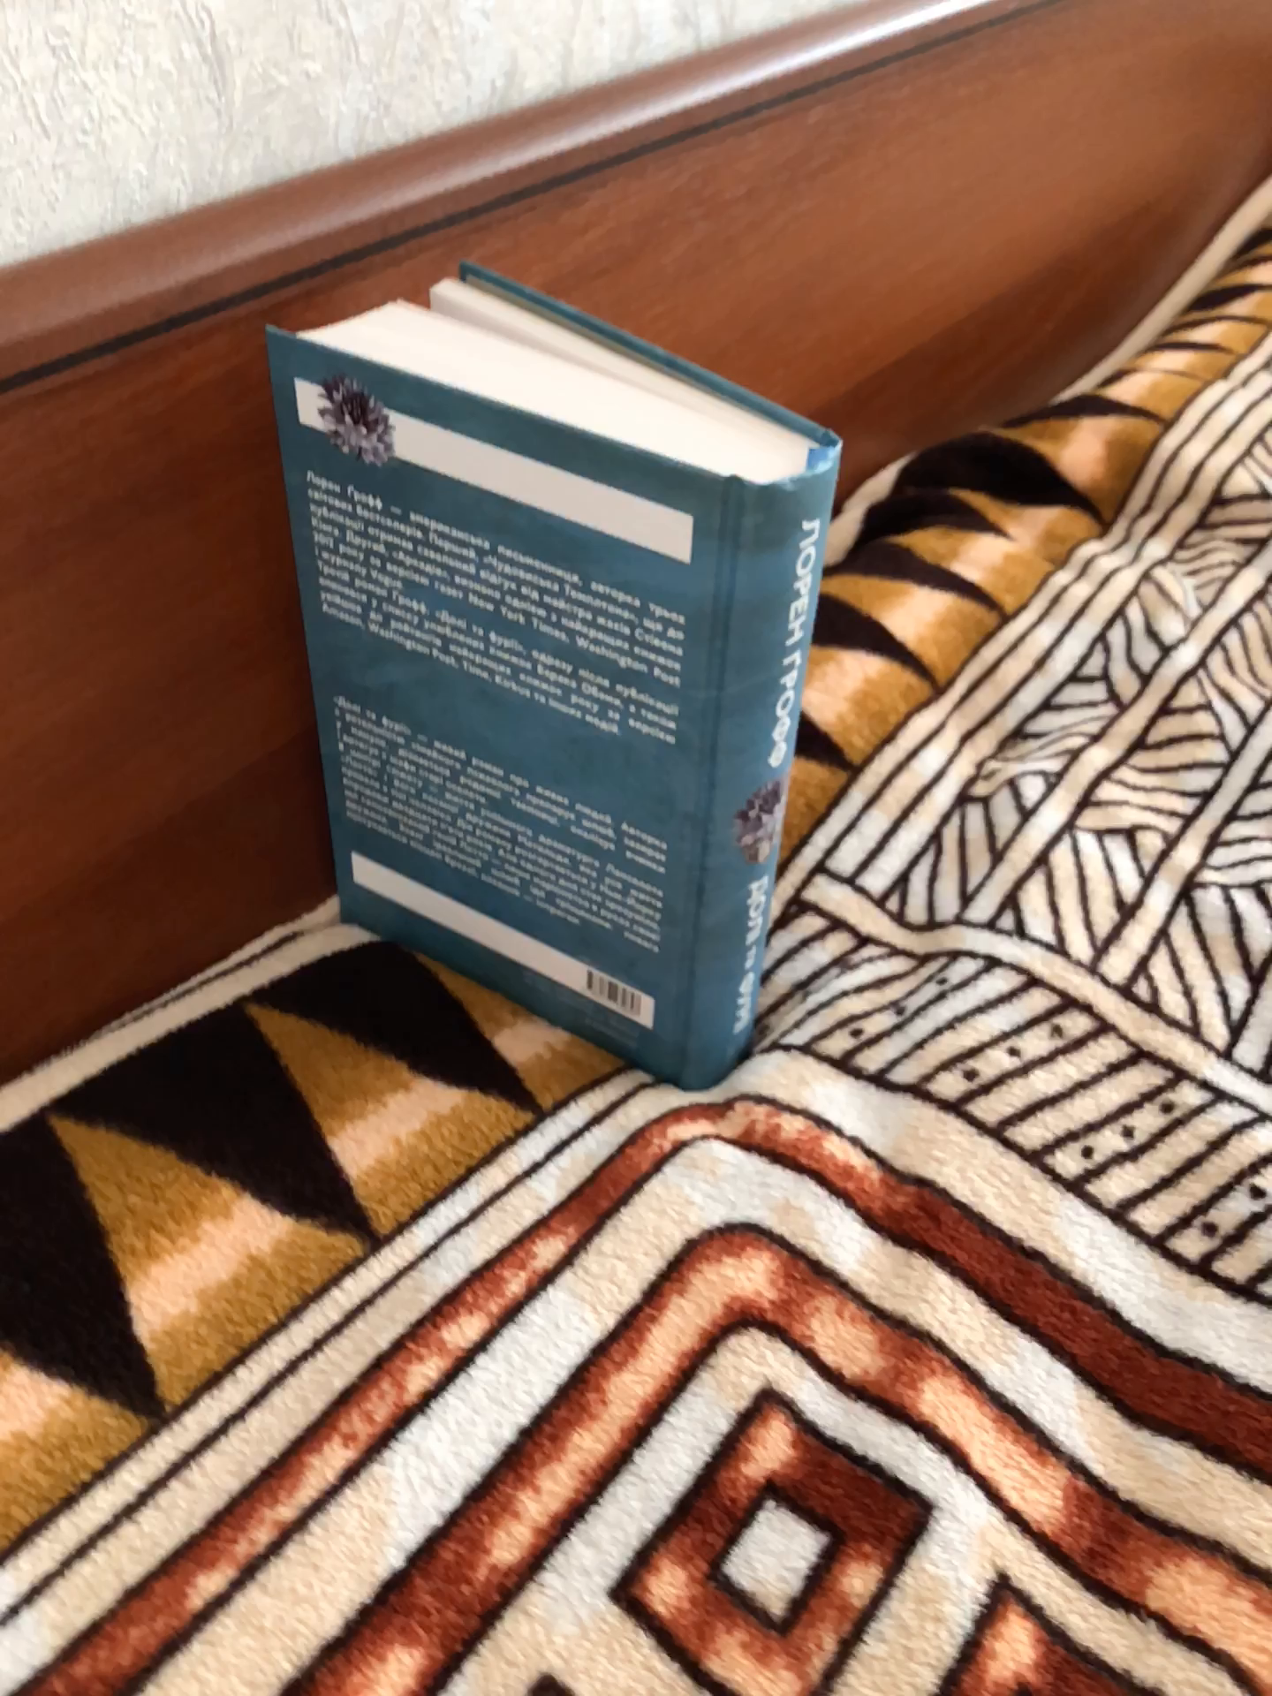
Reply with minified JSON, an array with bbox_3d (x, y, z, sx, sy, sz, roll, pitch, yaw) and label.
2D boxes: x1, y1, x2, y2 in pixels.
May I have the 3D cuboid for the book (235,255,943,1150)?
[{"bbox_3d":[-0.017,-0.041,0.407,0.160,0.199,0.078,28,47,28],"label":"book"}]
